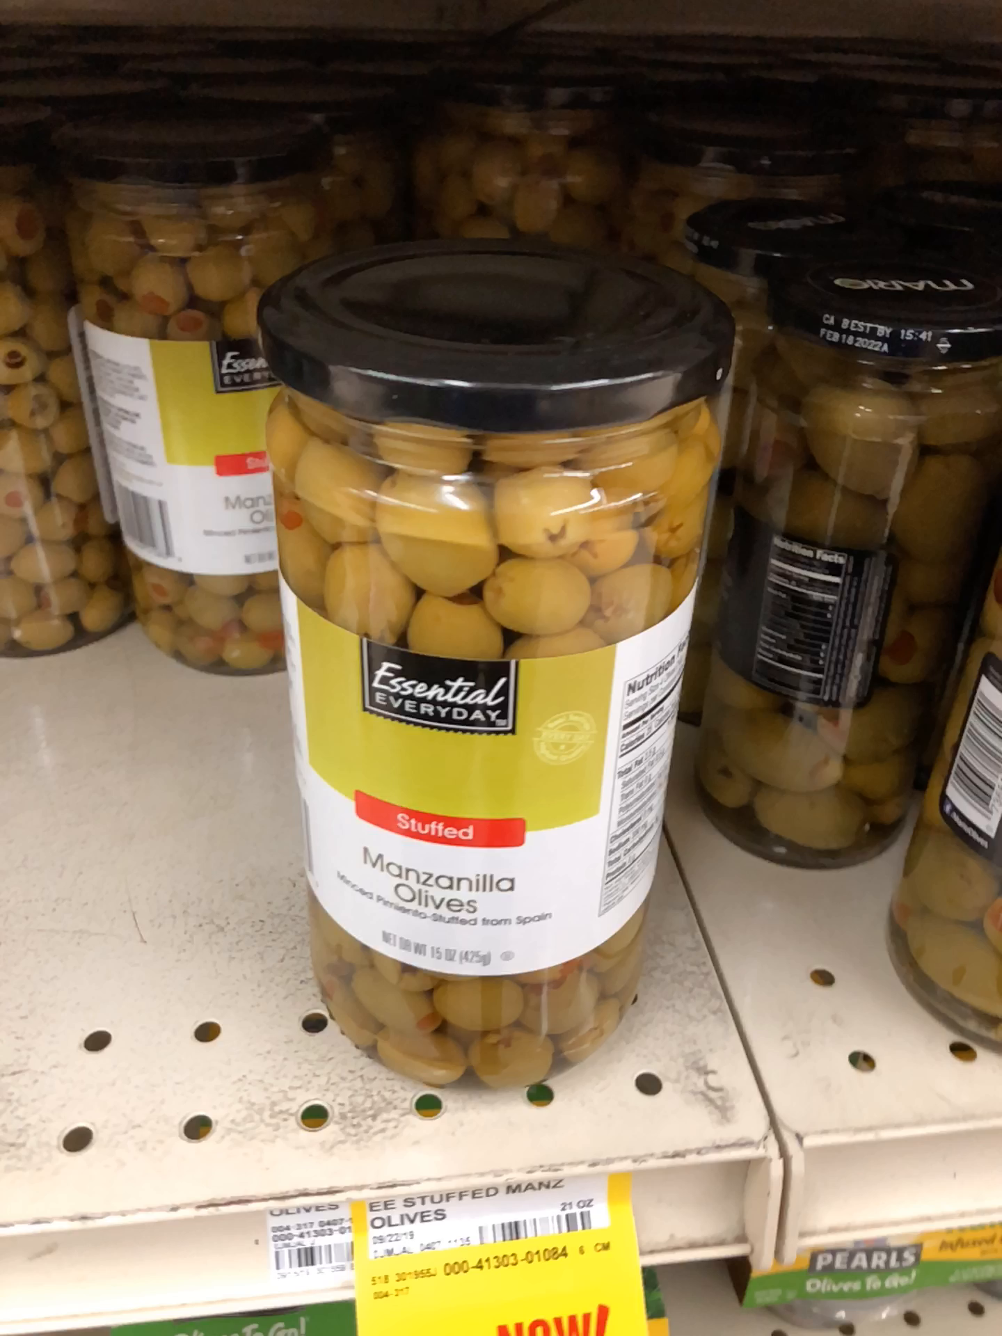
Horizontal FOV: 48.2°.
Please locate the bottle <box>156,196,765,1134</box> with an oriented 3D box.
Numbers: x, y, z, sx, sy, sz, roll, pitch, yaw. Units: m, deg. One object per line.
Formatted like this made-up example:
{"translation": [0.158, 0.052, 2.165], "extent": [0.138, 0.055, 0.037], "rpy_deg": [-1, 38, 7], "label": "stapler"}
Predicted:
{"translation": [-0.003, 0.004, 0.221], "extent": [0.080, 0.163, 0.070], "rpy_deg": [9, 35, 9], "label": "bottle"}
